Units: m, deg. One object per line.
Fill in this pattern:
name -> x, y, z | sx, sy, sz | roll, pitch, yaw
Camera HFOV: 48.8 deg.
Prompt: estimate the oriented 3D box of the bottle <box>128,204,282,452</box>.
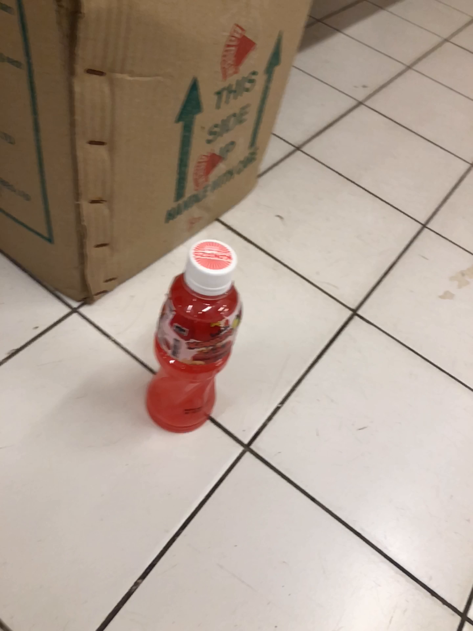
bottle -> -0.032, 0.020, 0.378 | 0.060, 0.189, 0.060 | 7, 51, -9
